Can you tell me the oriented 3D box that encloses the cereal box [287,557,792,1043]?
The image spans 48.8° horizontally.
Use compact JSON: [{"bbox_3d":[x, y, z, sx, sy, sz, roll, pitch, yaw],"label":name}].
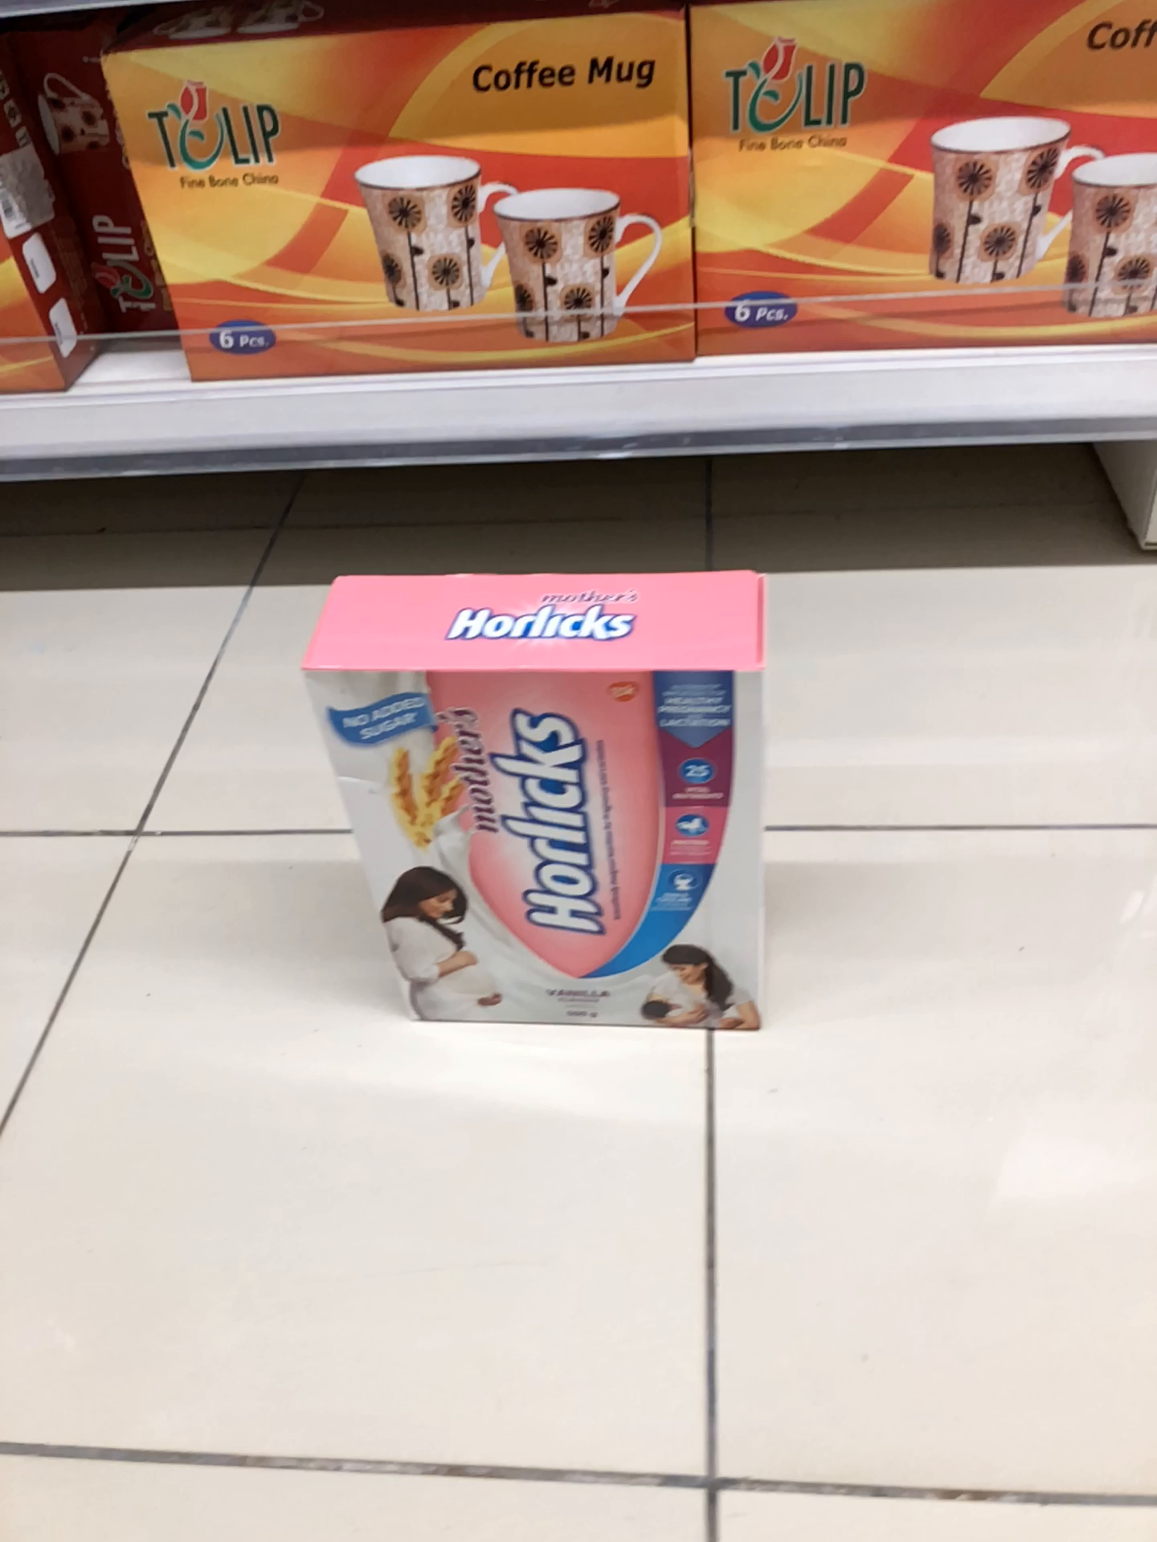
[{"bbox_3d":[-0.003,0.018,0.482,0.160,0.189,0.060,0,41,8],"label":"cereal box"}]
